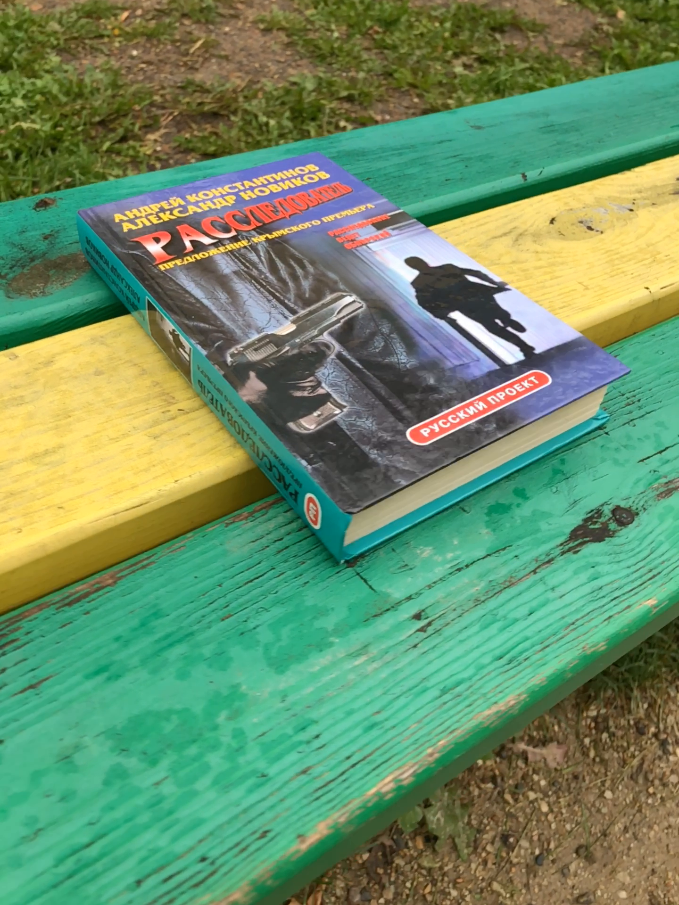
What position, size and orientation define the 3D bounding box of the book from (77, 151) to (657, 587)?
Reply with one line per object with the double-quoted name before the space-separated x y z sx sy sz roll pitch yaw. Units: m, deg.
"book" 0.001 -0.056 0.310 0.139 0.031 0.202 -24 53 -27
